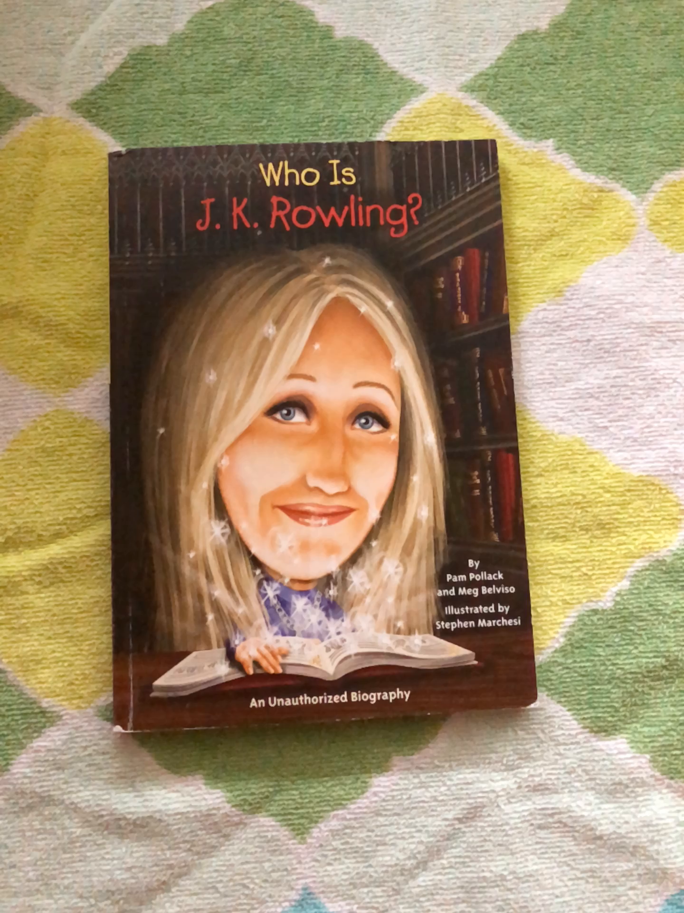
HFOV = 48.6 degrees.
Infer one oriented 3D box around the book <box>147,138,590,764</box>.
[{"bbox_3d":[0.005,-0.007,0.236,0.126,0.012,0.187,-2,83,-2],"label":"book"}]
